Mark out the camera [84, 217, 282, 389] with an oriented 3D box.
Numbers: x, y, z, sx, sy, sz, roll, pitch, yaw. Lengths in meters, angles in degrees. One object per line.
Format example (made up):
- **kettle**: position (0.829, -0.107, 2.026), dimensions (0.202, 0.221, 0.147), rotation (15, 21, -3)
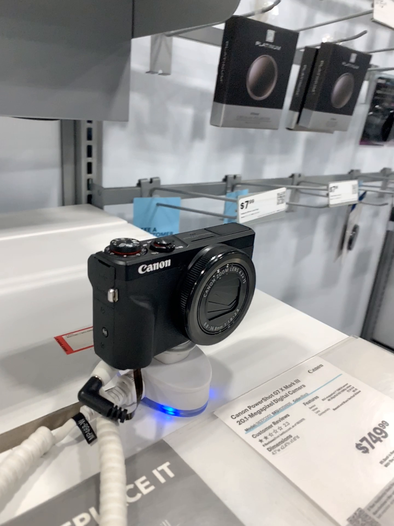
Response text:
- **camera**: position (-0.004, 0.014, 0.233), dimensions (0.110, 0.062, 0.040), rotation (-15, 28, -43)
